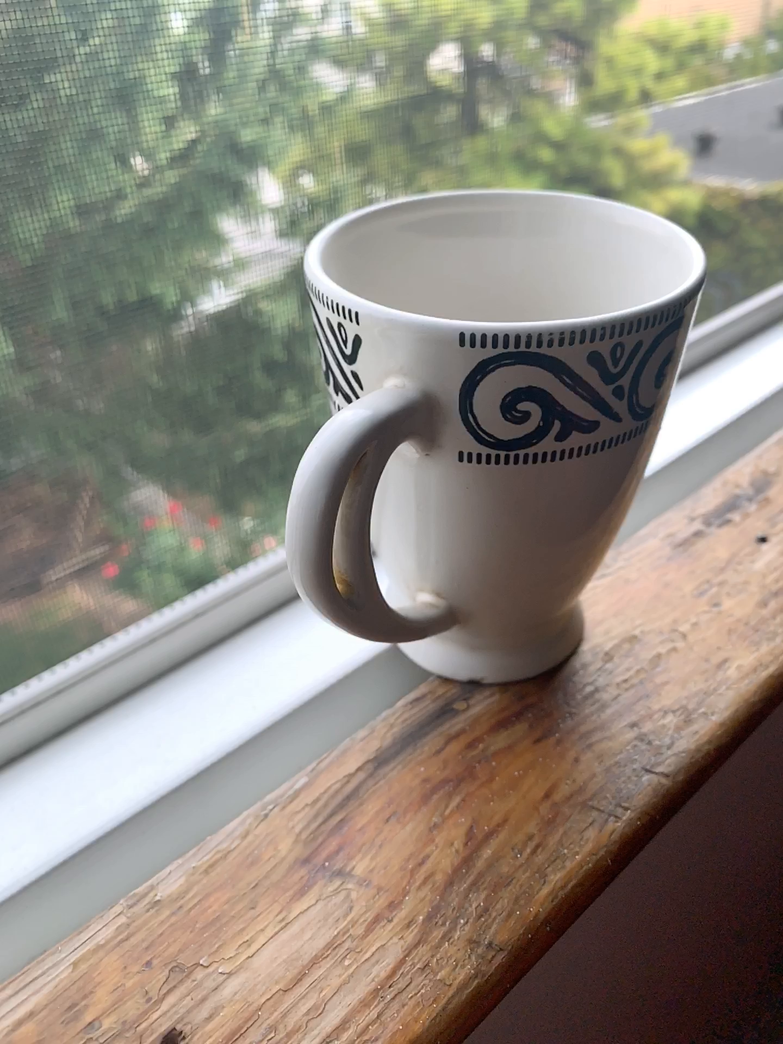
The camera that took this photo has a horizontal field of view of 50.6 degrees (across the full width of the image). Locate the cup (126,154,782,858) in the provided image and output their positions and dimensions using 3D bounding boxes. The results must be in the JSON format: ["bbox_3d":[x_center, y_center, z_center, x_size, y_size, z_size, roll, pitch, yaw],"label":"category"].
[{"bbox_3d":[0.025,-0.019,0.189,0.080,0.089,0.131,18,40,26],"label":"cup"}]
